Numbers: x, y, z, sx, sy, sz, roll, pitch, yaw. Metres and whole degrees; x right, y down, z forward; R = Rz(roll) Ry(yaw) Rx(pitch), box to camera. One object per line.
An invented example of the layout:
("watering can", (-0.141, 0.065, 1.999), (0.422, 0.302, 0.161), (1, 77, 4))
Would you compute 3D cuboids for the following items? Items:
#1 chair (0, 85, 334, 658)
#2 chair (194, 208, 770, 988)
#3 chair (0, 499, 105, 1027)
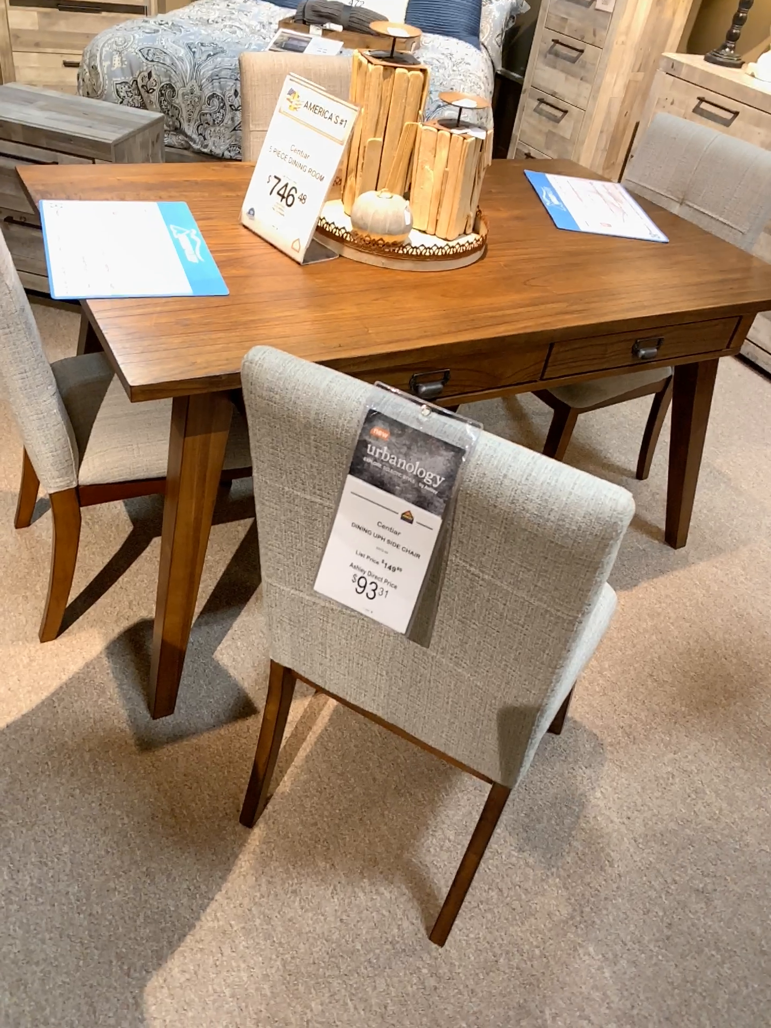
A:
("chair", (-0.519, -0.285, 1.572), (0.598, 0.912, 0.516), (-15, 46, -26))
("chair", (0.110, 0.126, 1.220), (0.484, 0.912, 0.630), (25, 42, 18))
("chair", (-0.662, 0.524, 0.683), (0.569, 0.793, 0.495), (-26, 51, -37))
